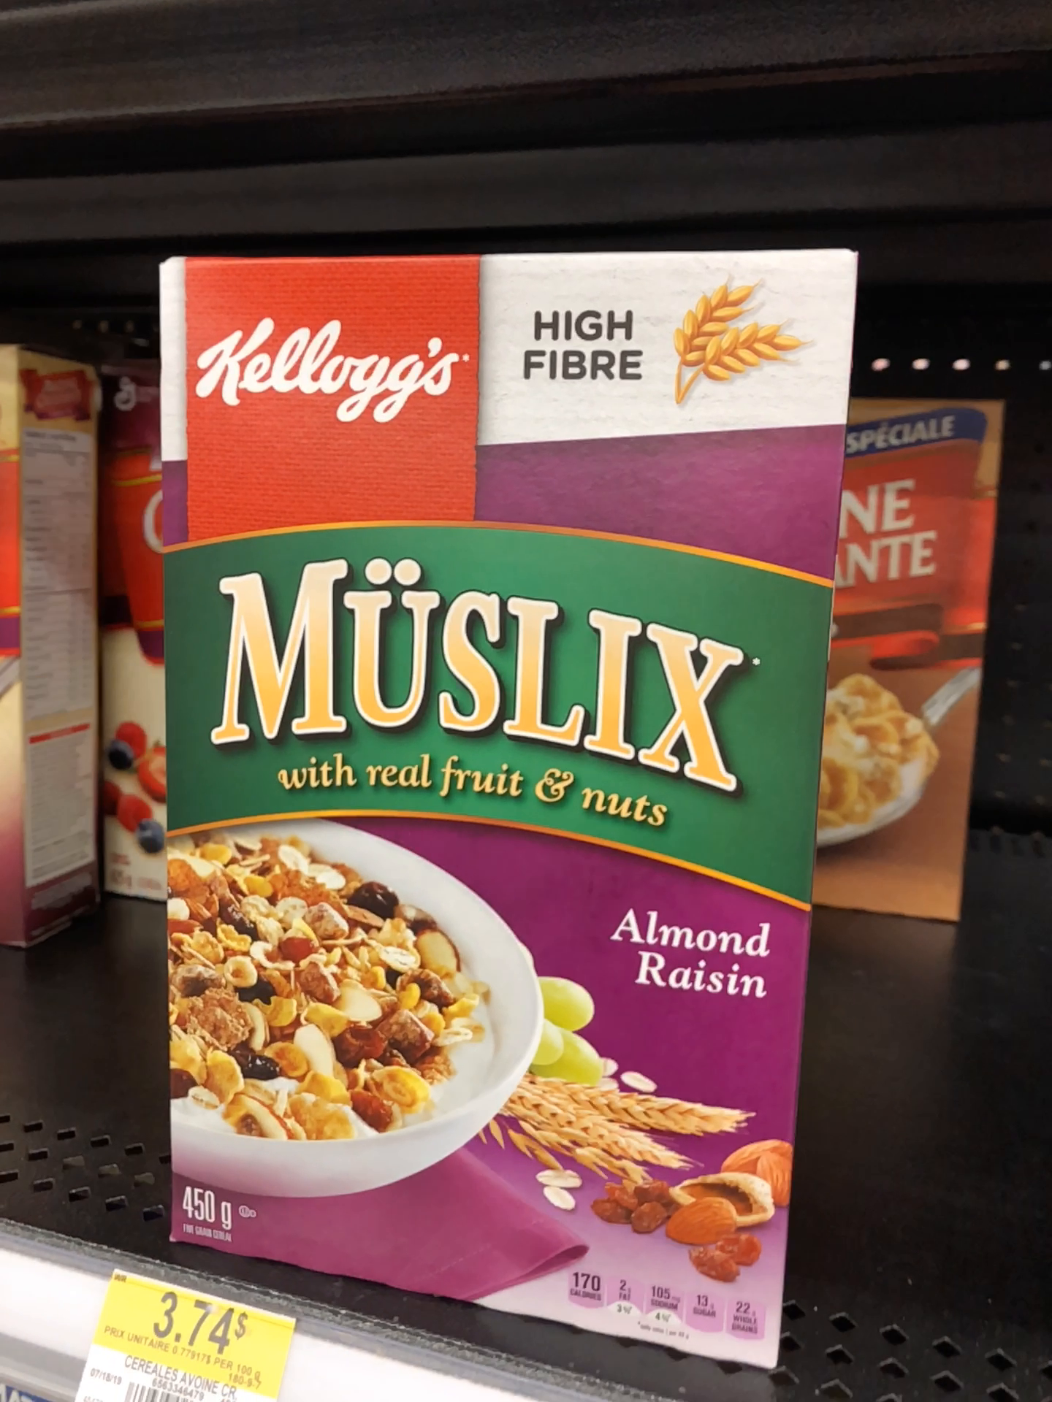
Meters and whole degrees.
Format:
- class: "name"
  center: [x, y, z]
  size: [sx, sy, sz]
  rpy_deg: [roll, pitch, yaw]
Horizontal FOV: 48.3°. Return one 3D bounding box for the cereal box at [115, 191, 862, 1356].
- class: "cereal box"
  center: [-0.012, 0.014, 0.305]
  size: [0.170, 0.259, 0.060]
  rpy_deg: [5, 10, 15]
